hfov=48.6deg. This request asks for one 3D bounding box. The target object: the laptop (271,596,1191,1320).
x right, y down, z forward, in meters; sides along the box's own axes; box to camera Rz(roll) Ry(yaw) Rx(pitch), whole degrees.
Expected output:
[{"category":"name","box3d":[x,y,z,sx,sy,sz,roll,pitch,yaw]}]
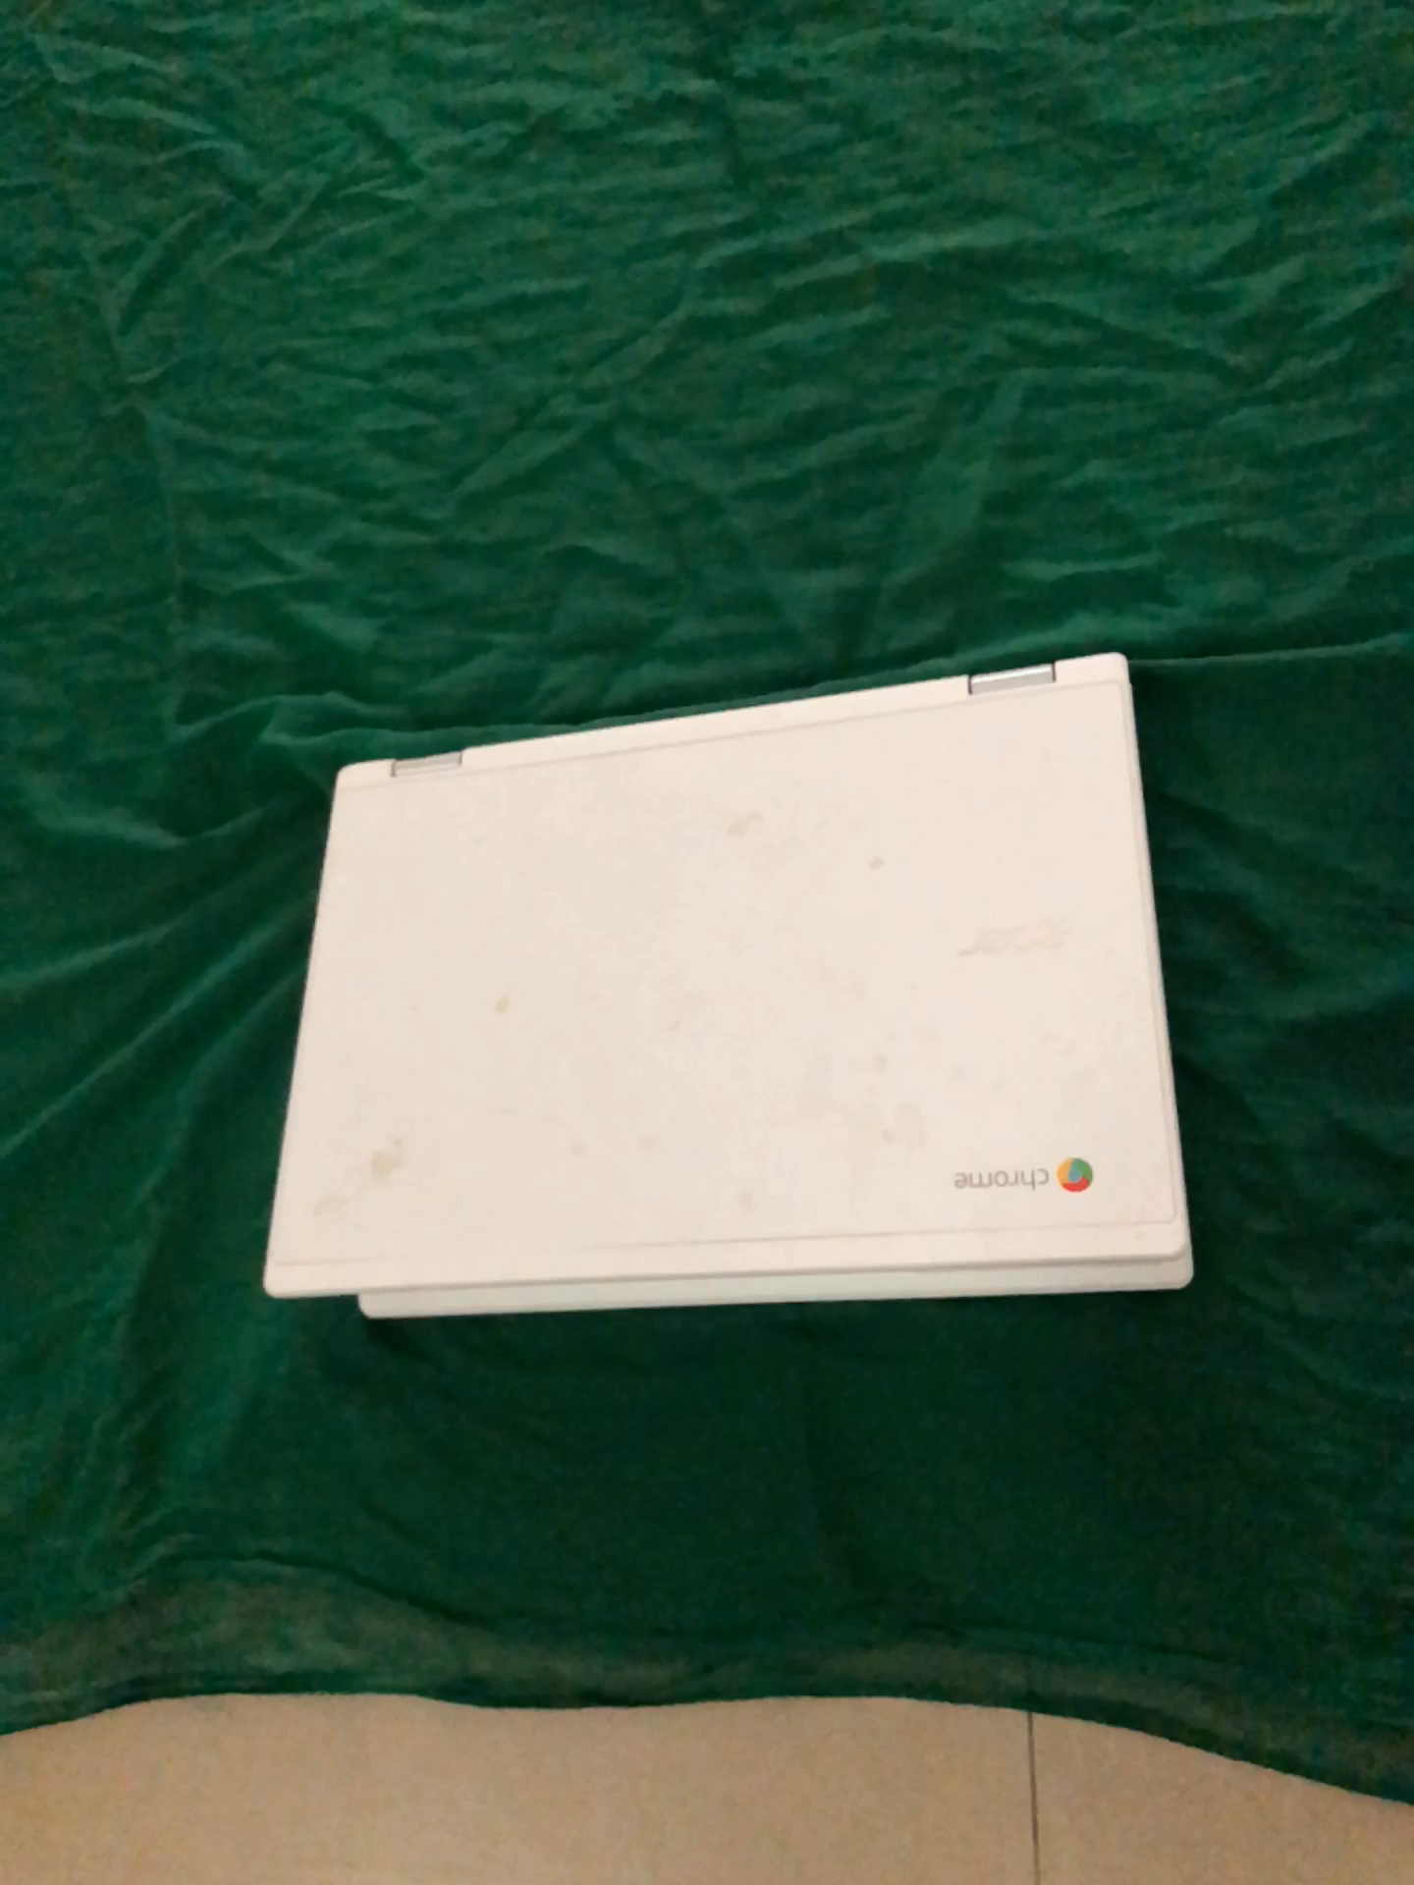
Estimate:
[{"category":"laptop","box3d":[0.001,0.015,0.504,0.281,0.065,0.193,-6,80,17]}]
